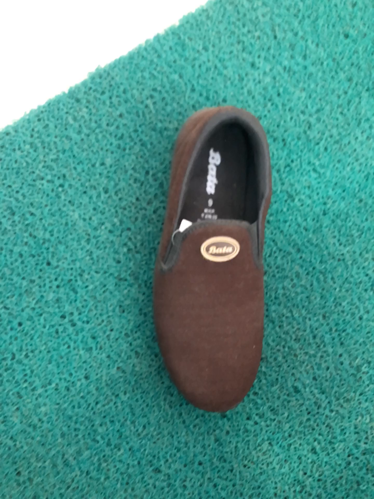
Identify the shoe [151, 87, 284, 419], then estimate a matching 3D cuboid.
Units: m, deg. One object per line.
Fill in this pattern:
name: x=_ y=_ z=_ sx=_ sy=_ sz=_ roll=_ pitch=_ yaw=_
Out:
shoe: x=0.024 y=0.004 z=0.379 sx=0.100 sy=0.100 sz=0.260 roll=2 pitch=83 yaw=-2
